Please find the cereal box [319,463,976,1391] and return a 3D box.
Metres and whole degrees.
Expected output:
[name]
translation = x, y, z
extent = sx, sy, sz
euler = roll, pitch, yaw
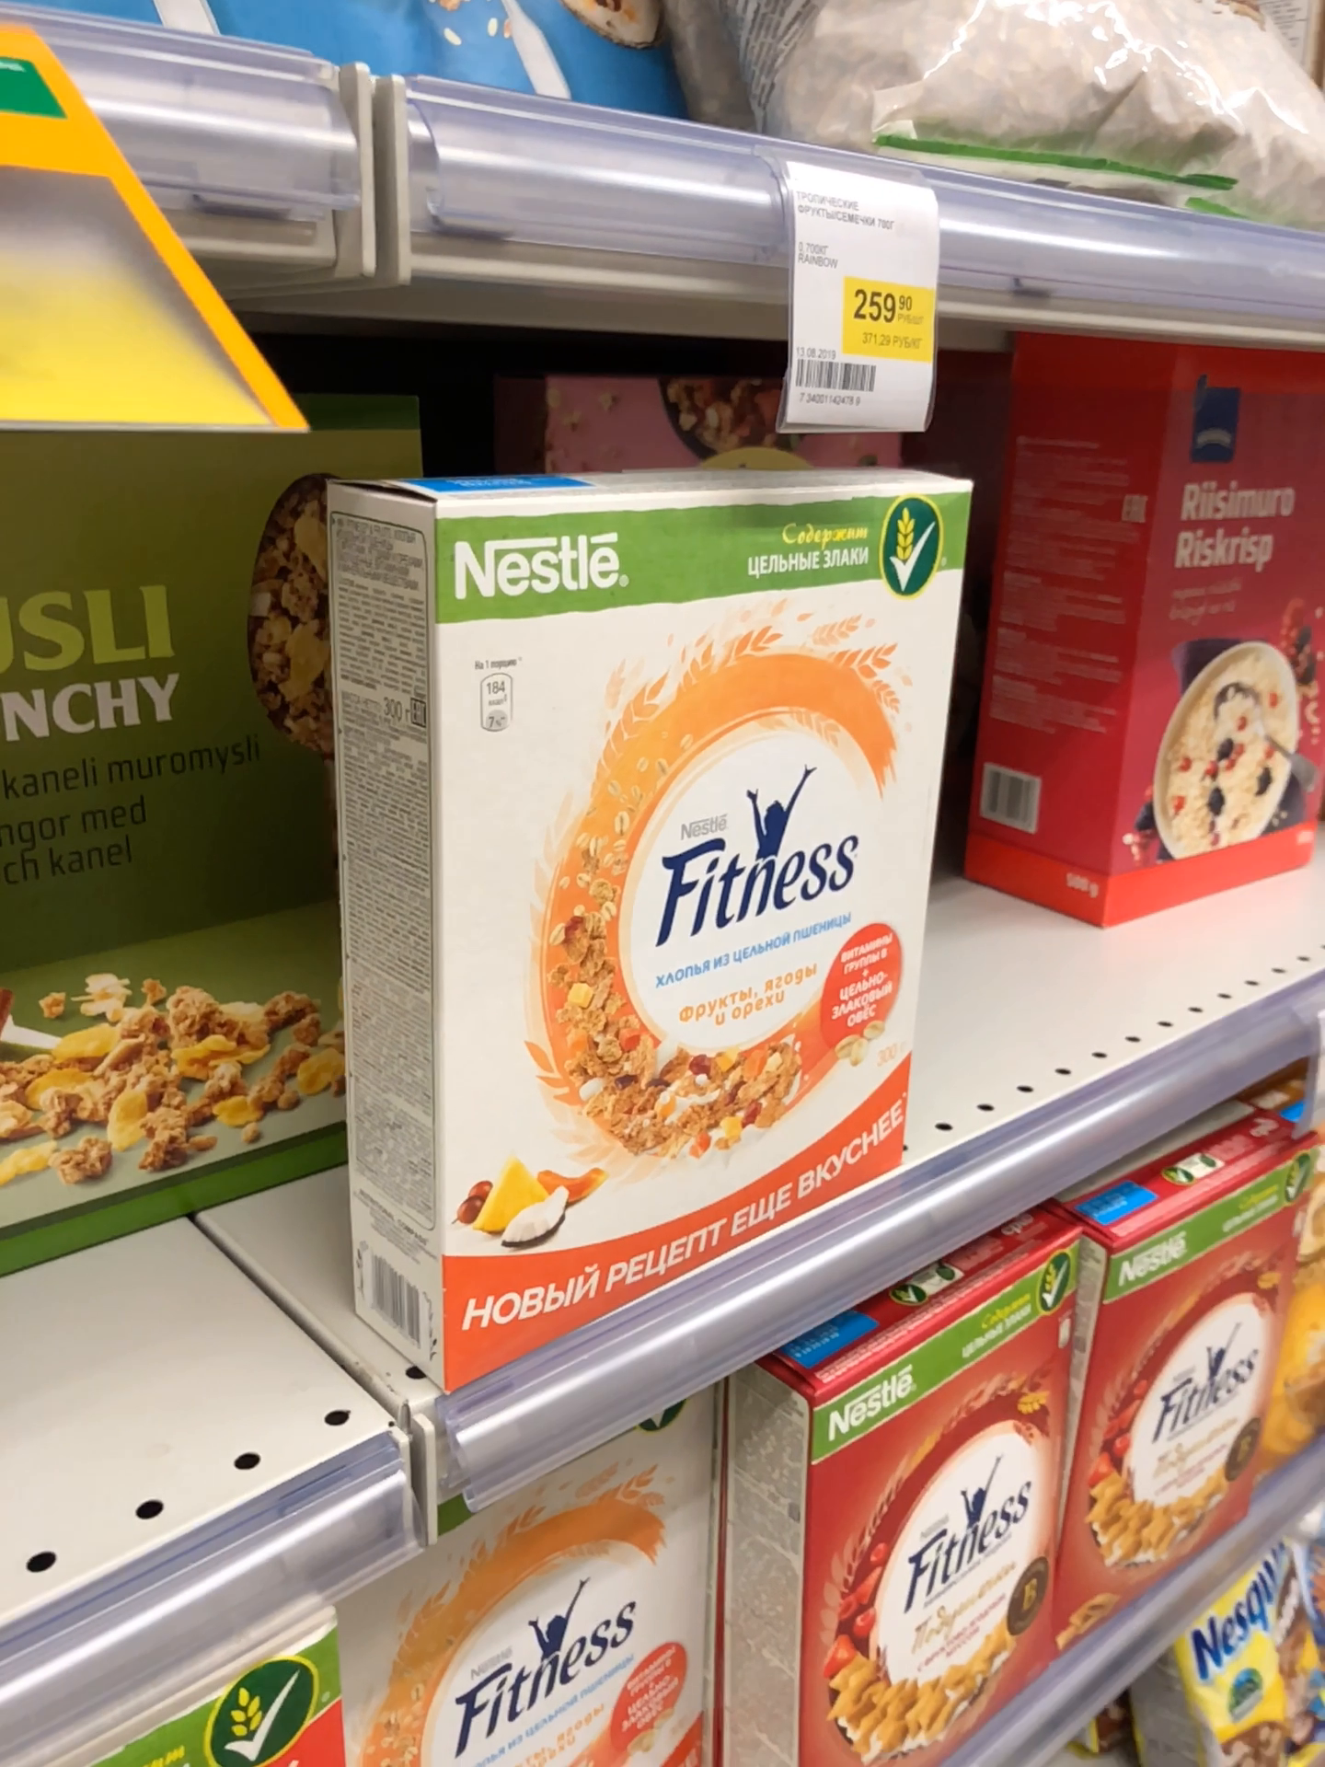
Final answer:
[cereal box]
translation = 0.001, 0.000, 0.428
extent = 0.190, 0.229, 0.050
euler = -15, 26, -41
